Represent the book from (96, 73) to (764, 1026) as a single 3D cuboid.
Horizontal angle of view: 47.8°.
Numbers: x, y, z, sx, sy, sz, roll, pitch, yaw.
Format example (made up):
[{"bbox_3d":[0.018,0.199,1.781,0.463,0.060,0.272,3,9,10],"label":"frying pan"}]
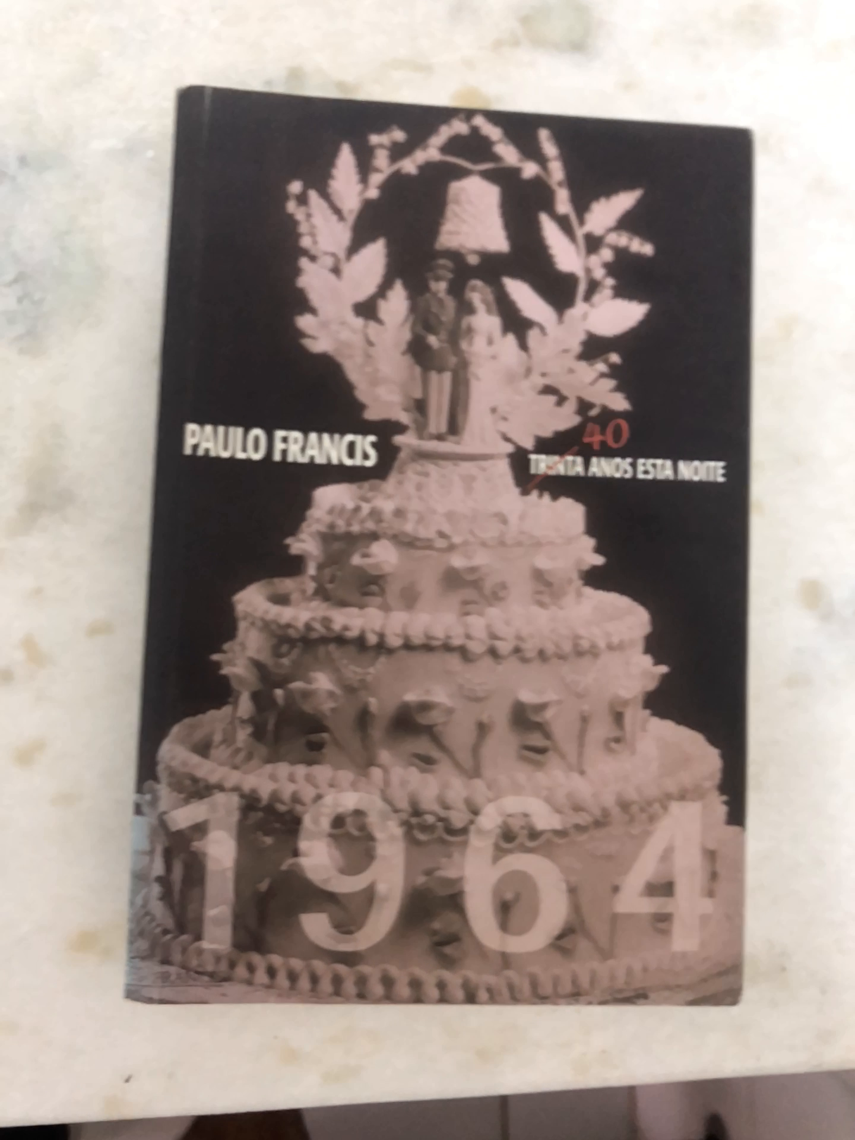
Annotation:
[{"bbox_3d":[0.004,-0.004,0.220,0.140,0.020,0.203,2,87,-4],"label":"book"}]
